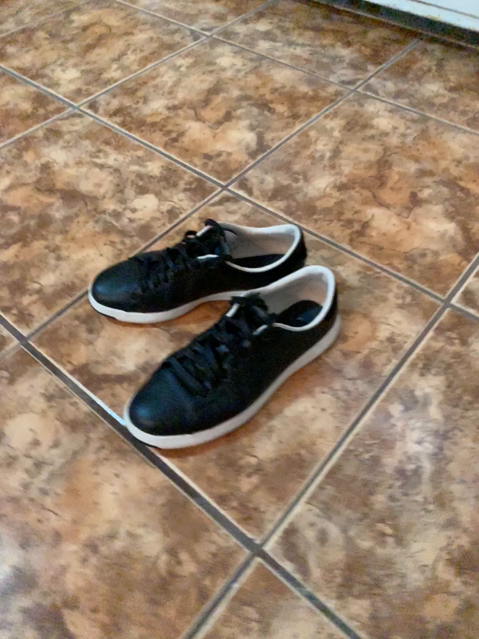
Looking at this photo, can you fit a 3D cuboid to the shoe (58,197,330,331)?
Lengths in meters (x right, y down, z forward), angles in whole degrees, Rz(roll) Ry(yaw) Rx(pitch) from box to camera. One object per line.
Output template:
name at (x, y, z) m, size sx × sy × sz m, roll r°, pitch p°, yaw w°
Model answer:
shoe at (-0.044, -0.058, 0.524) m, size 0.255 × 0.093 × 0.087 m, roll -3°, pitch 52°, yaw -2°

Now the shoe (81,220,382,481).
shoe at (0.001, 0.021, 0.461) m, size 0.255 × 0.103 × 0.090 m, roll -31°, pitch 57°, yaw -22°
